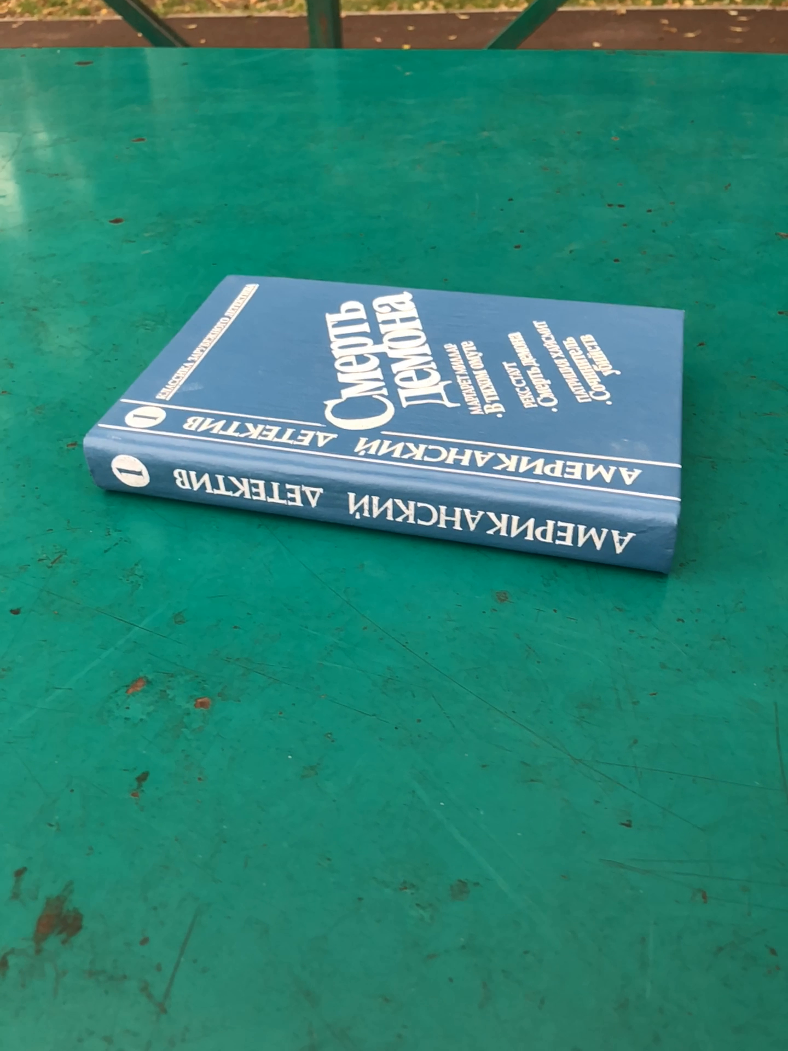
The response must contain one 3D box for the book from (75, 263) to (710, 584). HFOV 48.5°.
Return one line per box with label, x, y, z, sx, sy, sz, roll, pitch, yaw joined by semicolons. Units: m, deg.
book;0.009;-0.052;0.345;0.212;0.034;0.143;7;41;13
